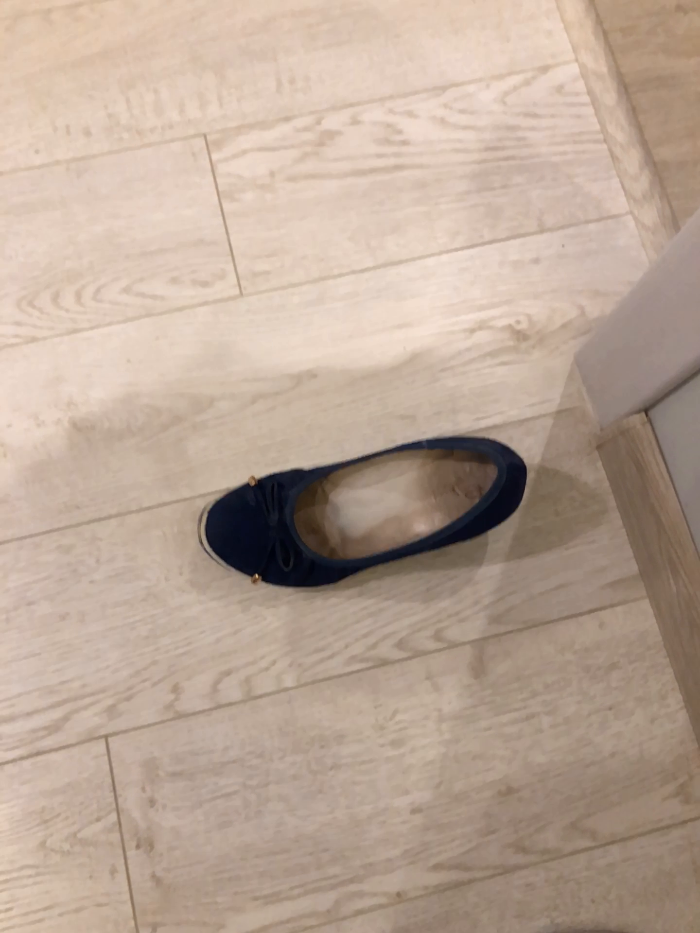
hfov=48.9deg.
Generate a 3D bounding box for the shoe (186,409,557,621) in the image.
[{"bbox_3d":[0.012,0.040,0.560,0.230,0.110,0.098,-10,77,-4],"label":"shoe"}]
